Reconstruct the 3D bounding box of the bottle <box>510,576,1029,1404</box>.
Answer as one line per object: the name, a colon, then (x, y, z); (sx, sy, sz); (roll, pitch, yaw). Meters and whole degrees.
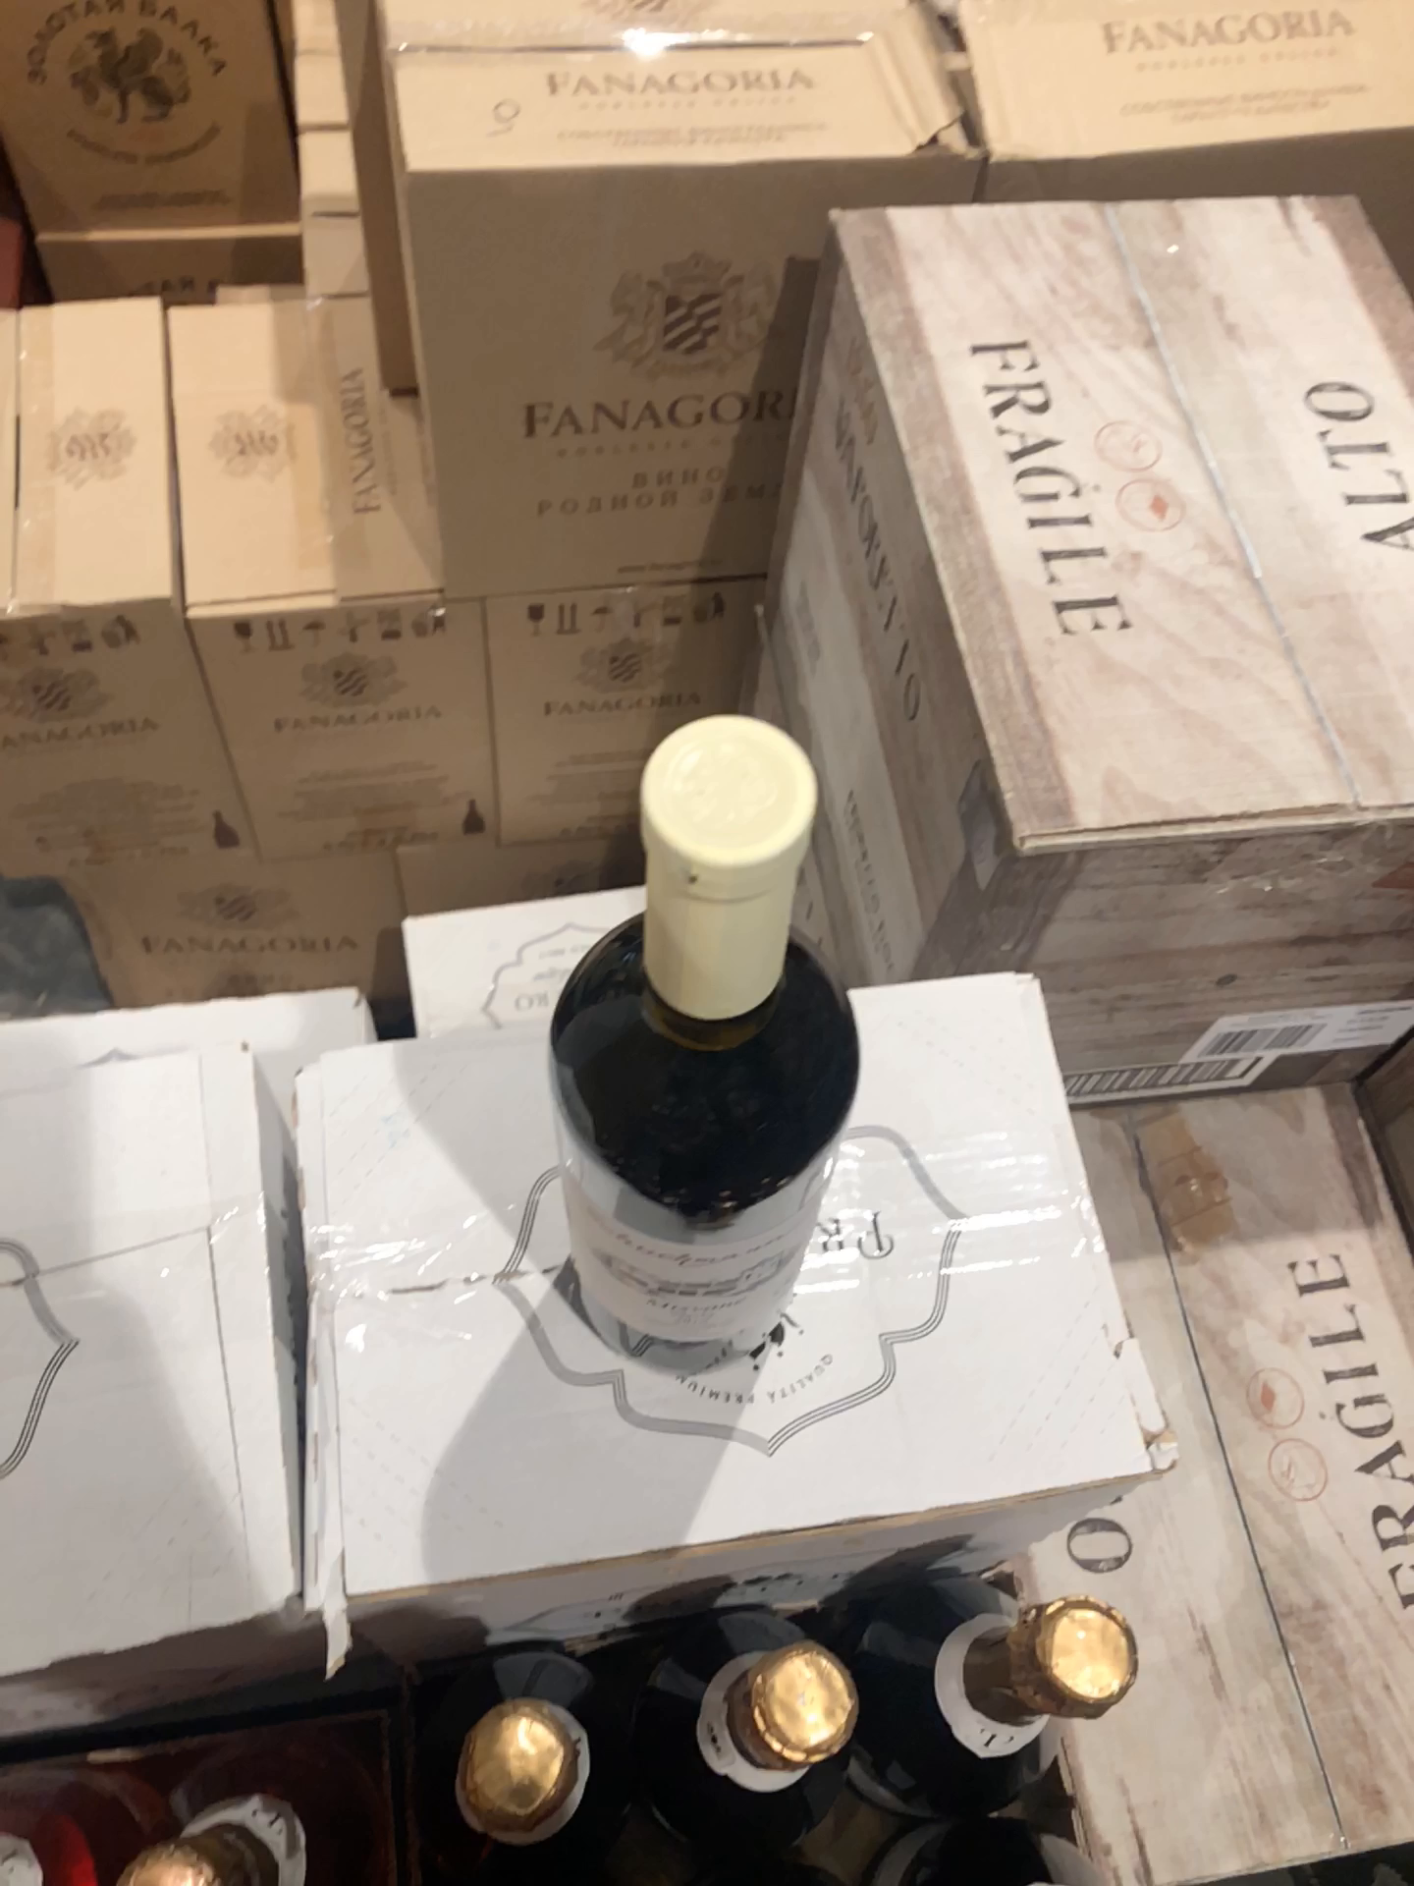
bottle: (0.002, 0.041, 0.383); (0.080, 0.289, 0.073); (2, 61, -3)
